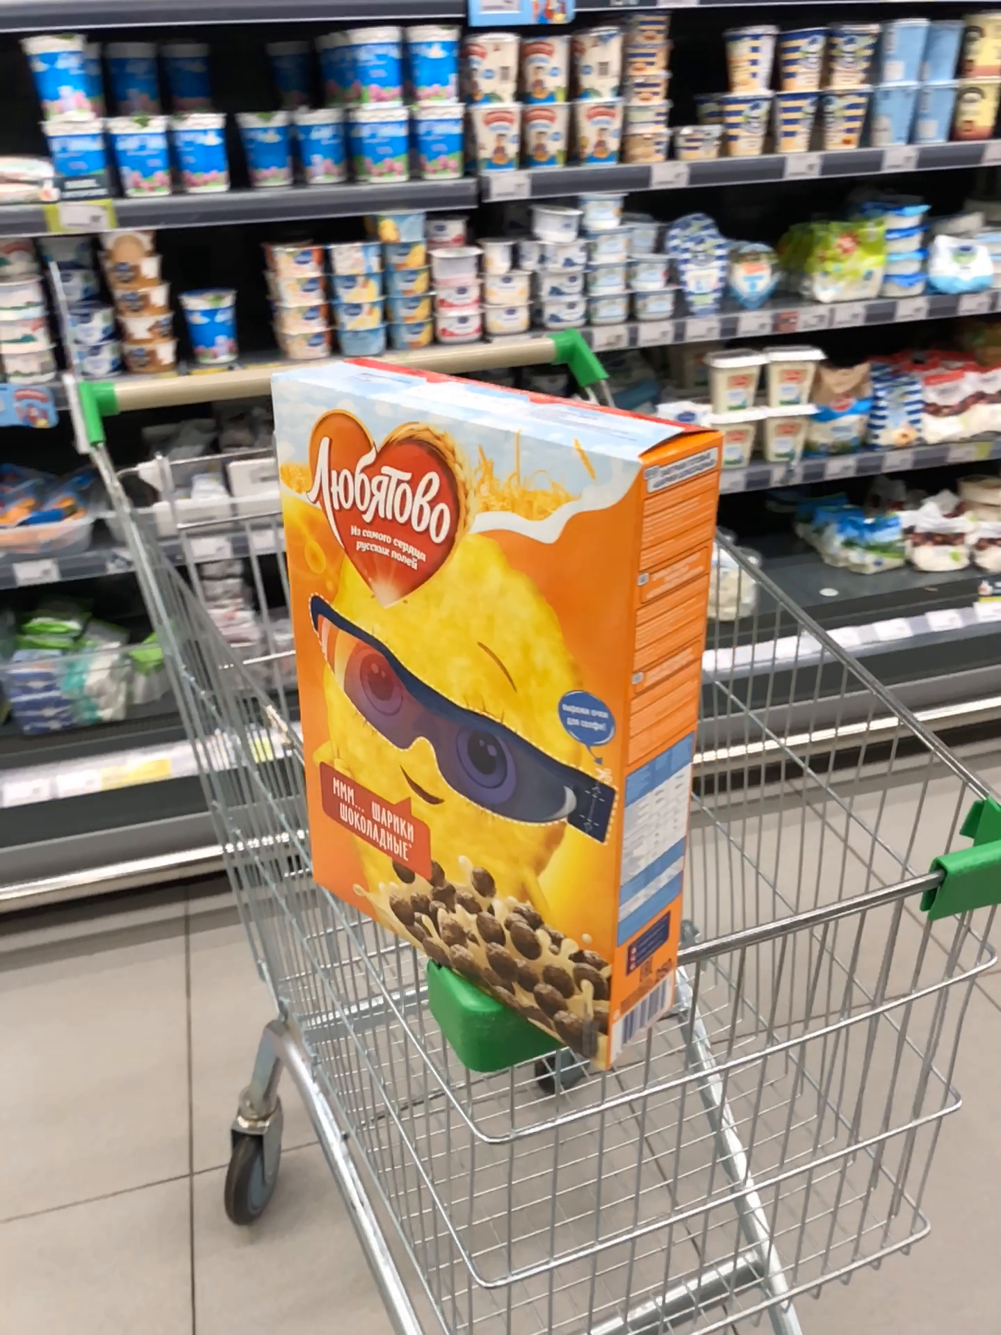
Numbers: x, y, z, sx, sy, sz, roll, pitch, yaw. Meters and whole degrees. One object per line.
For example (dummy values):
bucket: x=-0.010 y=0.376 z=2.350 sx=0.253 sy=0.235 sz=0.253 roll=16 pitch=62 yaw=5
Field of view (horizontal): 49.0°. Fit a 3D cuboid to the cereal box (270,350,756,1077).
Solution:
cereal box: x=-0.005 y=0.012 z=0.469 sx=0.201 sy=0.259 sz=0.050 roll=21 pitch=33 yaw=37
